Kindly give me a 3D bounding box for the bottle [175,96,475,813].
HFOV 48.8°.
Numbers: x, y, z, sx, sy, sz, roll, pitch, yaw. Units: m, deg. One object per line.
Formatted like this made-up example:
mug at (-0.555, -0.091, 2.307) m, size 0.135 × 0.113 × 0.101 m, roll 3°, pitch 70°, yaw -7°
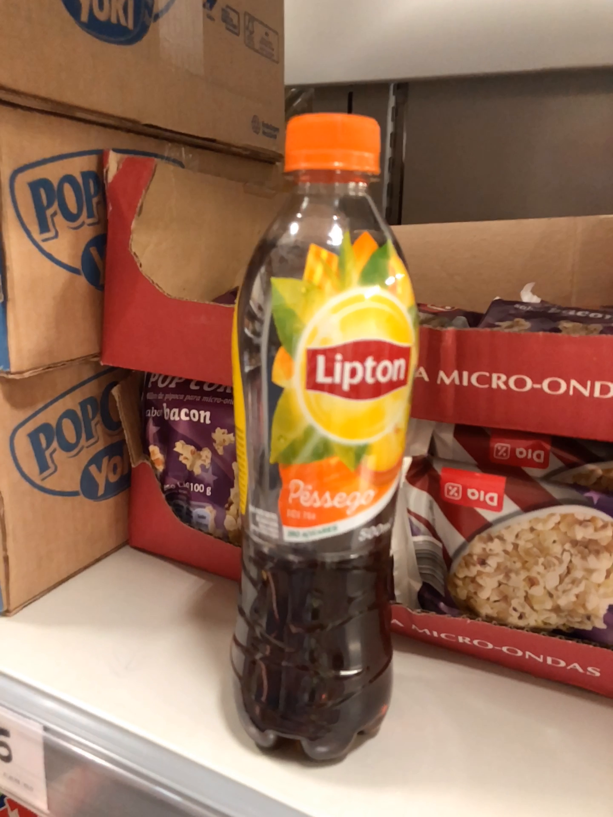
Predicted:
bottle at (0.000, 0.016, 0.237) m, size 0.070 × 0.219 × 0.070 m, roll 1°, pitch 17°, yaw 0°
